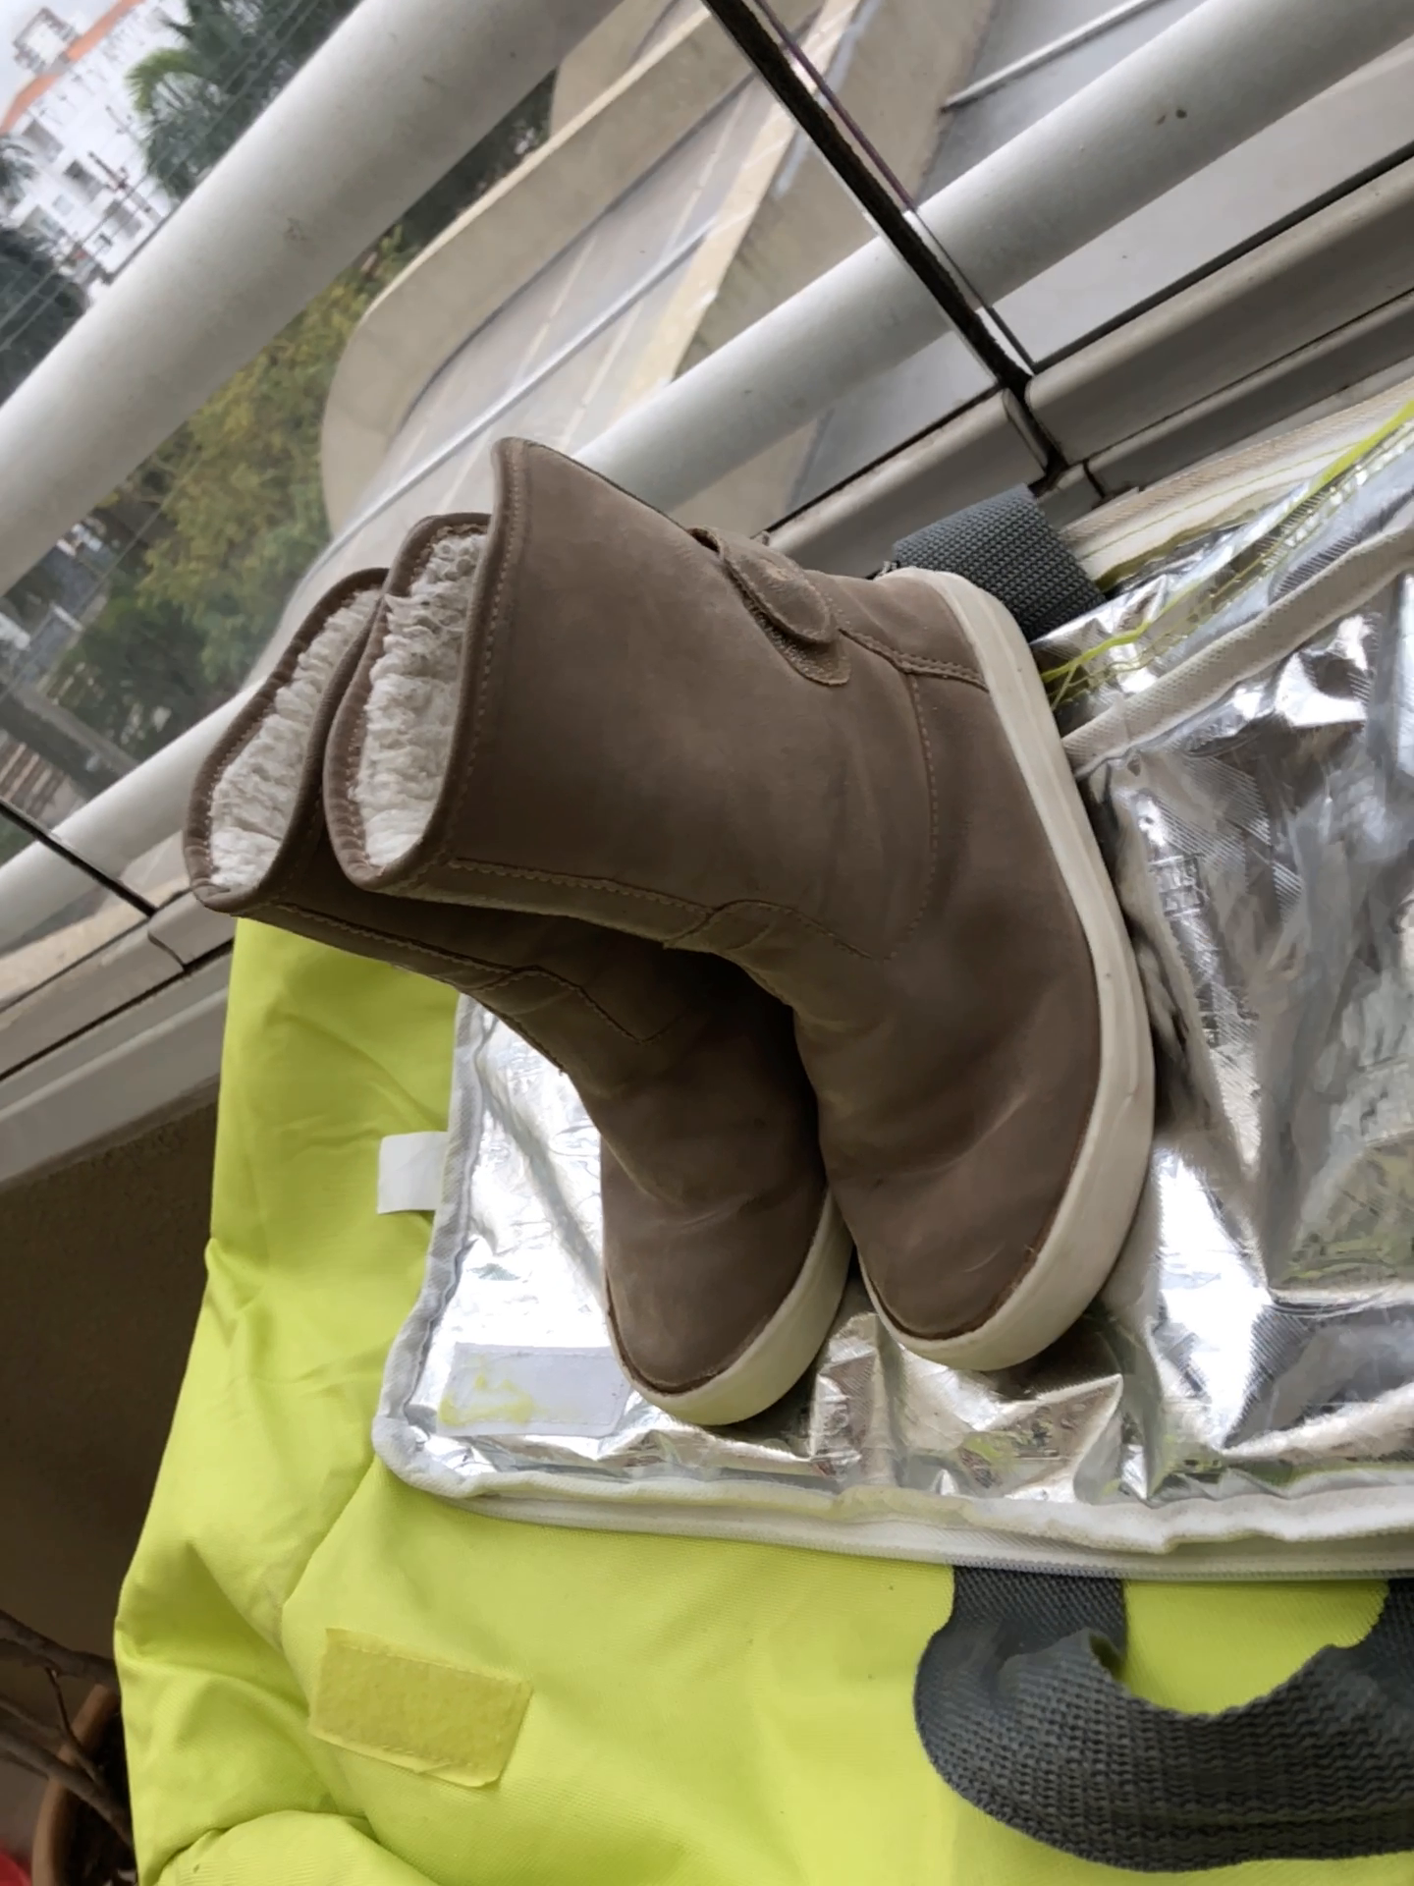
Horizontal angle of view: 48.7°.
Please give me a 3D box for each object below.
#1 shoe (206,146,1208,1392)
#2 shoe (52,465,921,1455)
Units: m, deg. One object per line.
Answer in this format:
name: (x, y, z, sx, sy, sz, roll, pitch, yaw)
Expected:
shoe: (0.000, -0.017, 0.323, 0.089, 0.169, 0.201, -24, 62, 42)
shoe: (-0.048, 0.018, 0.376, 0.089, 0.169, 0.191, -22, 64, 44)
